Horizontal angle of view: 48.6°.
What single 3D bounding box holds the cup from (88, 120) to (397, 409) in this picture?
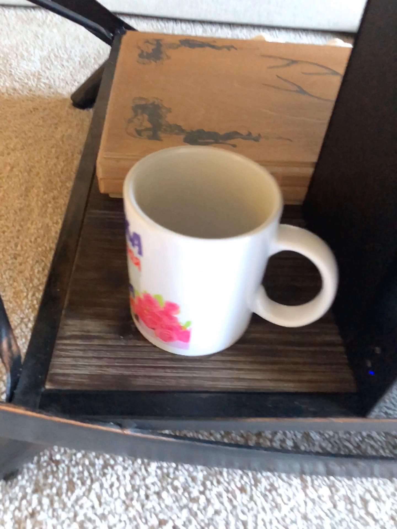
[{"bbox_3d":[0.025,-0.003,0.262,0.140,0.100,0.090,19,47,12],"label":"cup"}]
